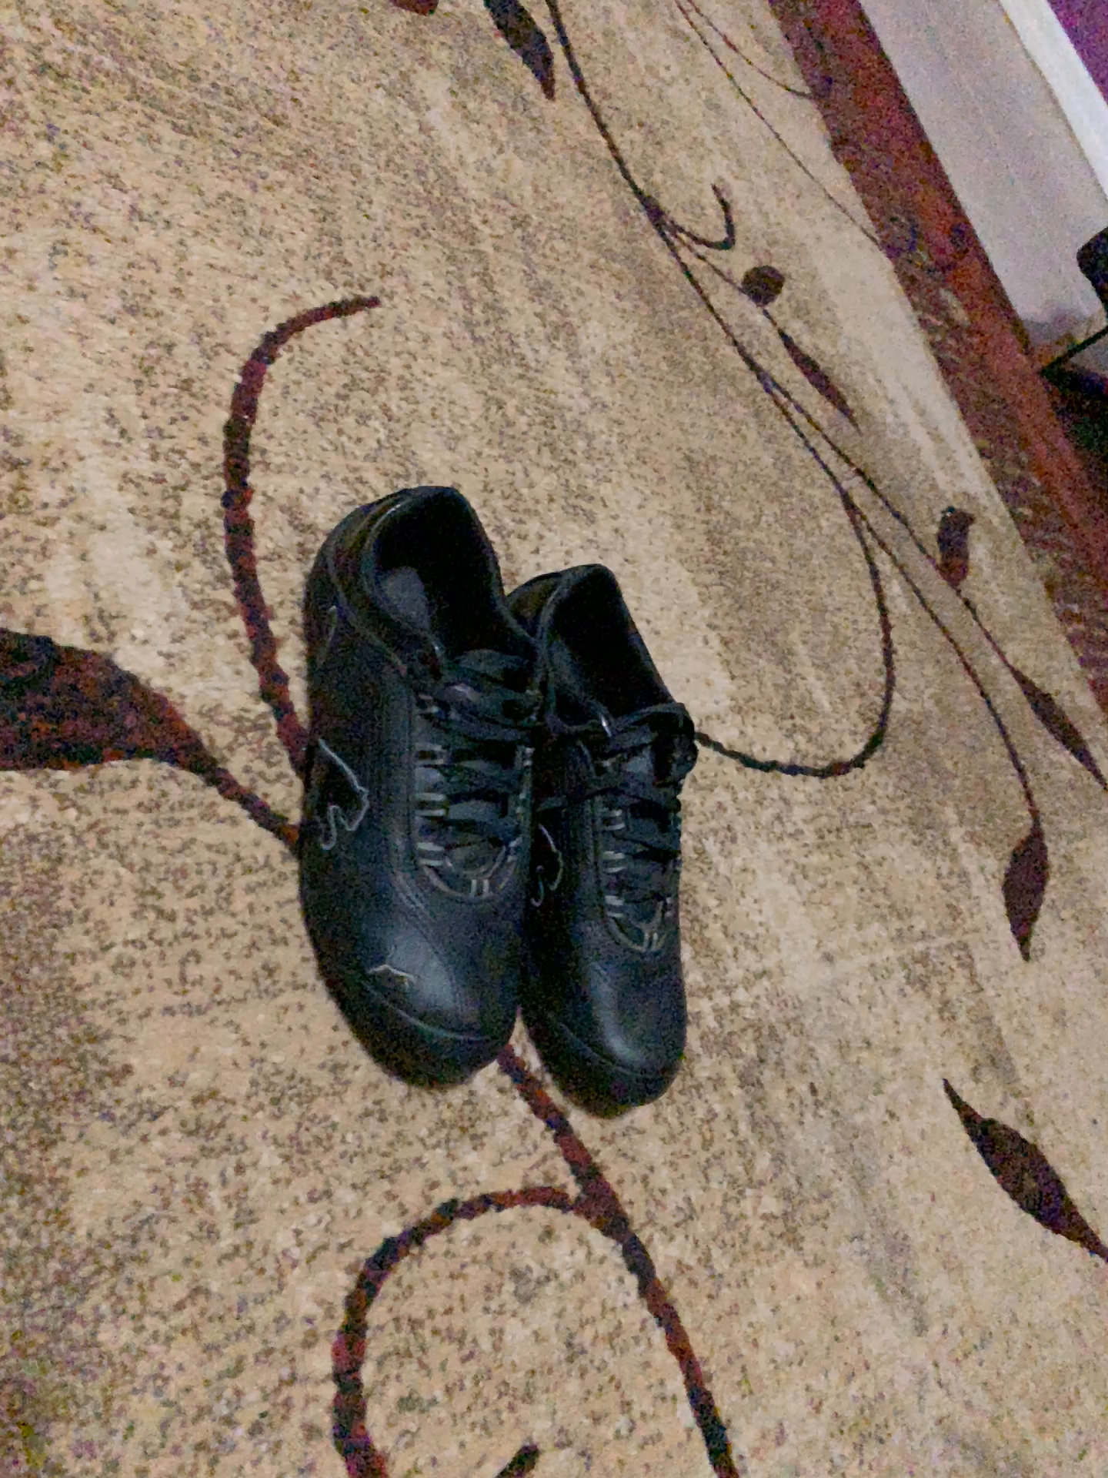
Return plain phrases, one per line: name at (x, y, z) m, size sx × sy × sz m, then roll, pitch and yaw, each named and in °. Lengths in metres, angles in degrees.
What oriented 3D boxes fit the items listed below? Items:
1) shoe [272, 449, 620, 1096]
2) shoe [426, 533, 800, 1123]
shoe at (-0.052, 0.012, 0.468) m, size 0.086 × 0.073 × 0.244 m, roll 10°, pitch 59°, yaw -39°
shoe at (0.021, 0.036, 0.519) m, size 0.088 × 0.073 × 0.244 m, roll 5°, pitch 62°, yaw -41°
